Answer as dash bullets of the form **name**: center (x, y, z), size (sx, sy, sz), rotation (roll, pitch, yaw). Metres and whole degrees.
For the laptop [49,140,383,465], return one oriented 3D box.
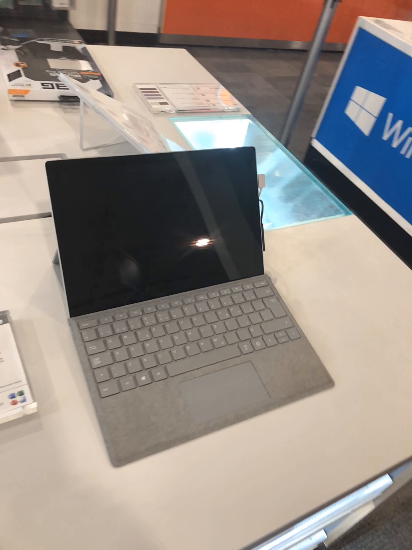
- **laptop**: center (-0.011, 0.000, 0.542), size (0.279, 0.147, 0.297), rotation (-11, 53, -26)
